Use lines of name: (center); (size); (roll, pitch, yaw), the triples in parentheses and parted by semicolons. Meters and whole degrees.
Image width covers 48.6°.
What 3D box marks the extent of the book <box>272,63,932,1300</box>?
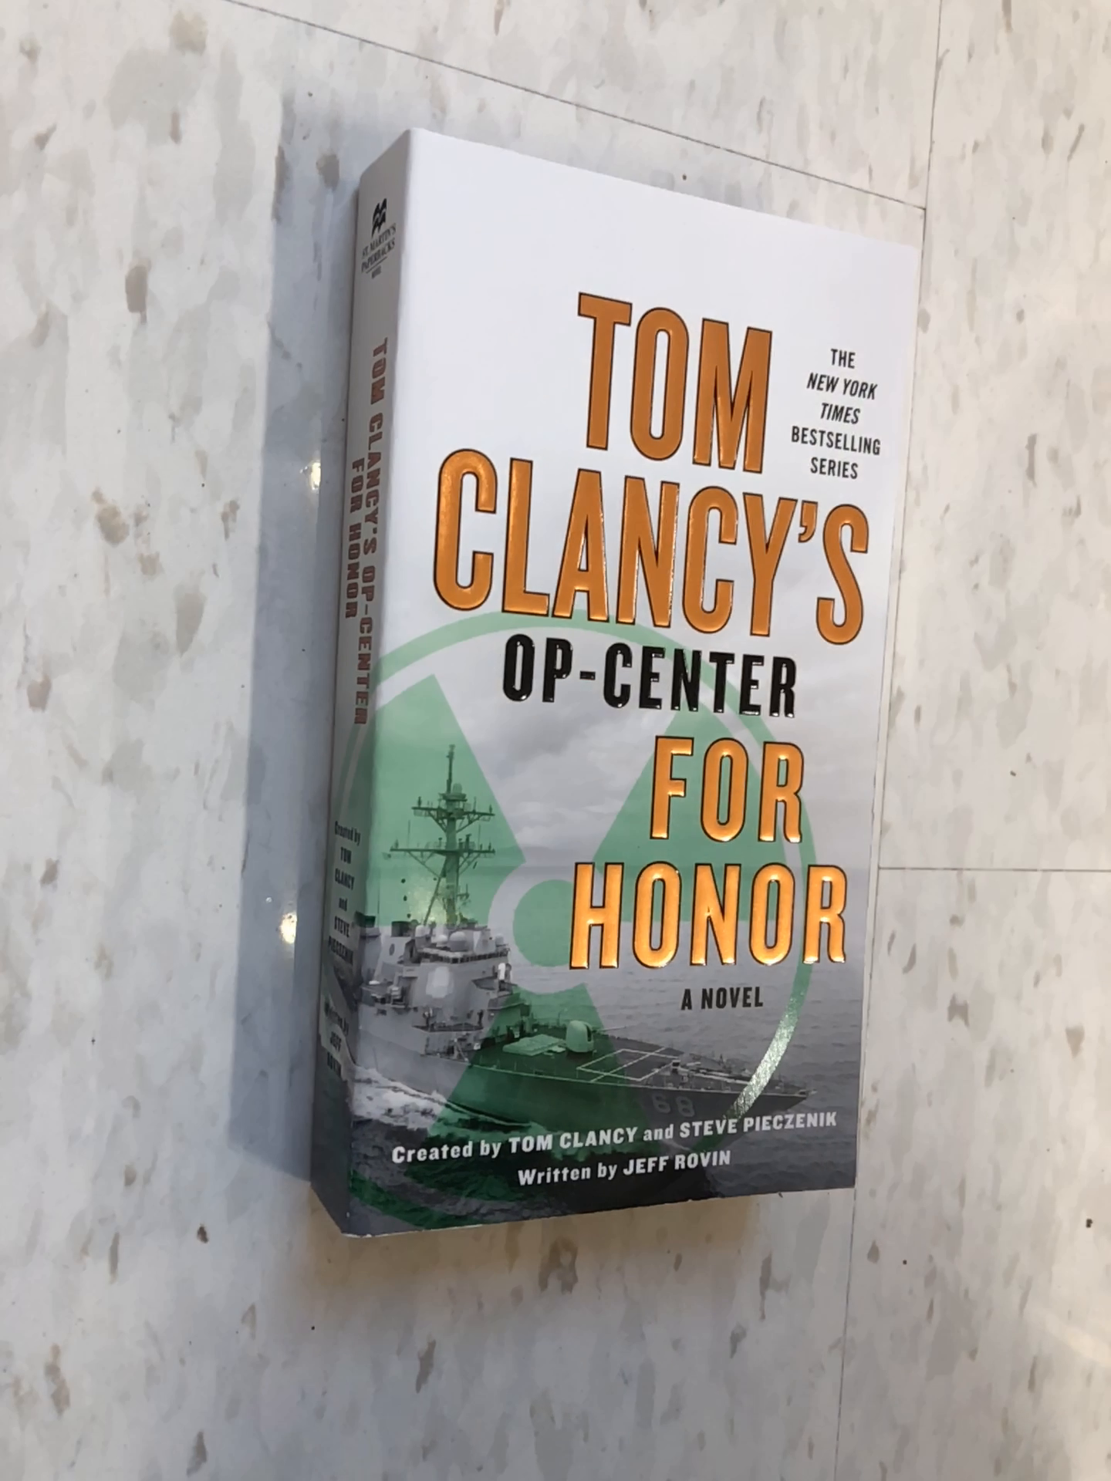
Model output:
book: (0.009, -0.007, 0.245); (0.110, 0.050, 0.200); (2, 91, -25)
